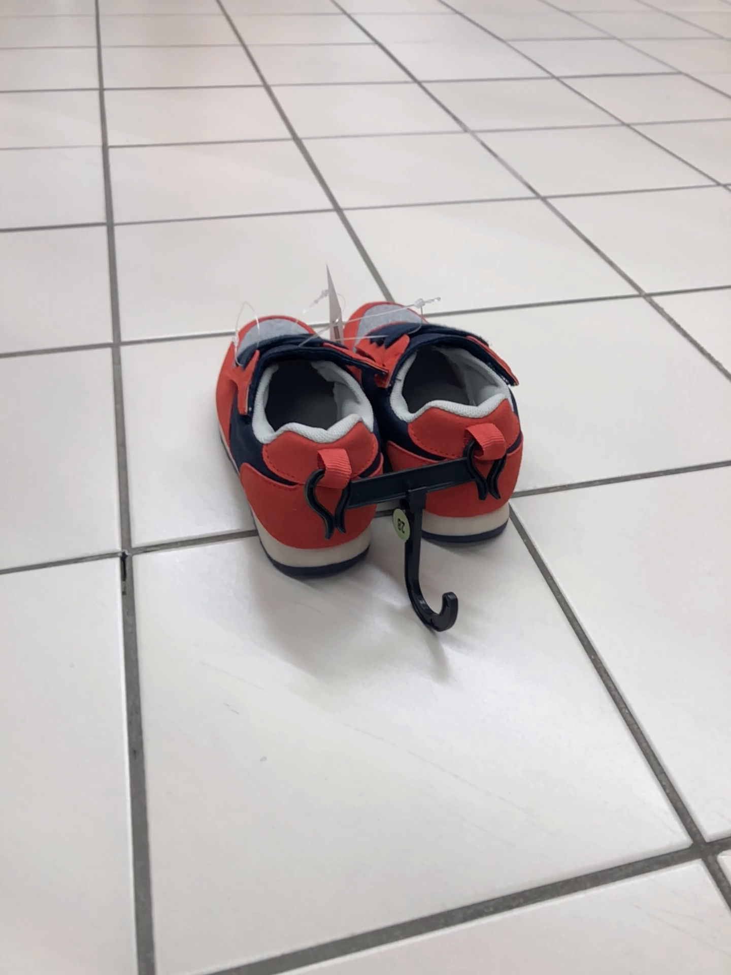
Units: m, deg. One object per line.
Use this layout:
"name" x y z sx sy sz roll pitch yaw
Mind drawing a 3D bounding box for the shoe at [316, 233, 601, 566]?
"shoe" 0.037 -0.059 0.444 0.082 0.083 0.187 -10 42 -15

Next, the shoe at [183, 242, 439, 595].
"shoe" -0.038 -0.048 0.427 0.082 0.083 0.189 -10 42 -15
